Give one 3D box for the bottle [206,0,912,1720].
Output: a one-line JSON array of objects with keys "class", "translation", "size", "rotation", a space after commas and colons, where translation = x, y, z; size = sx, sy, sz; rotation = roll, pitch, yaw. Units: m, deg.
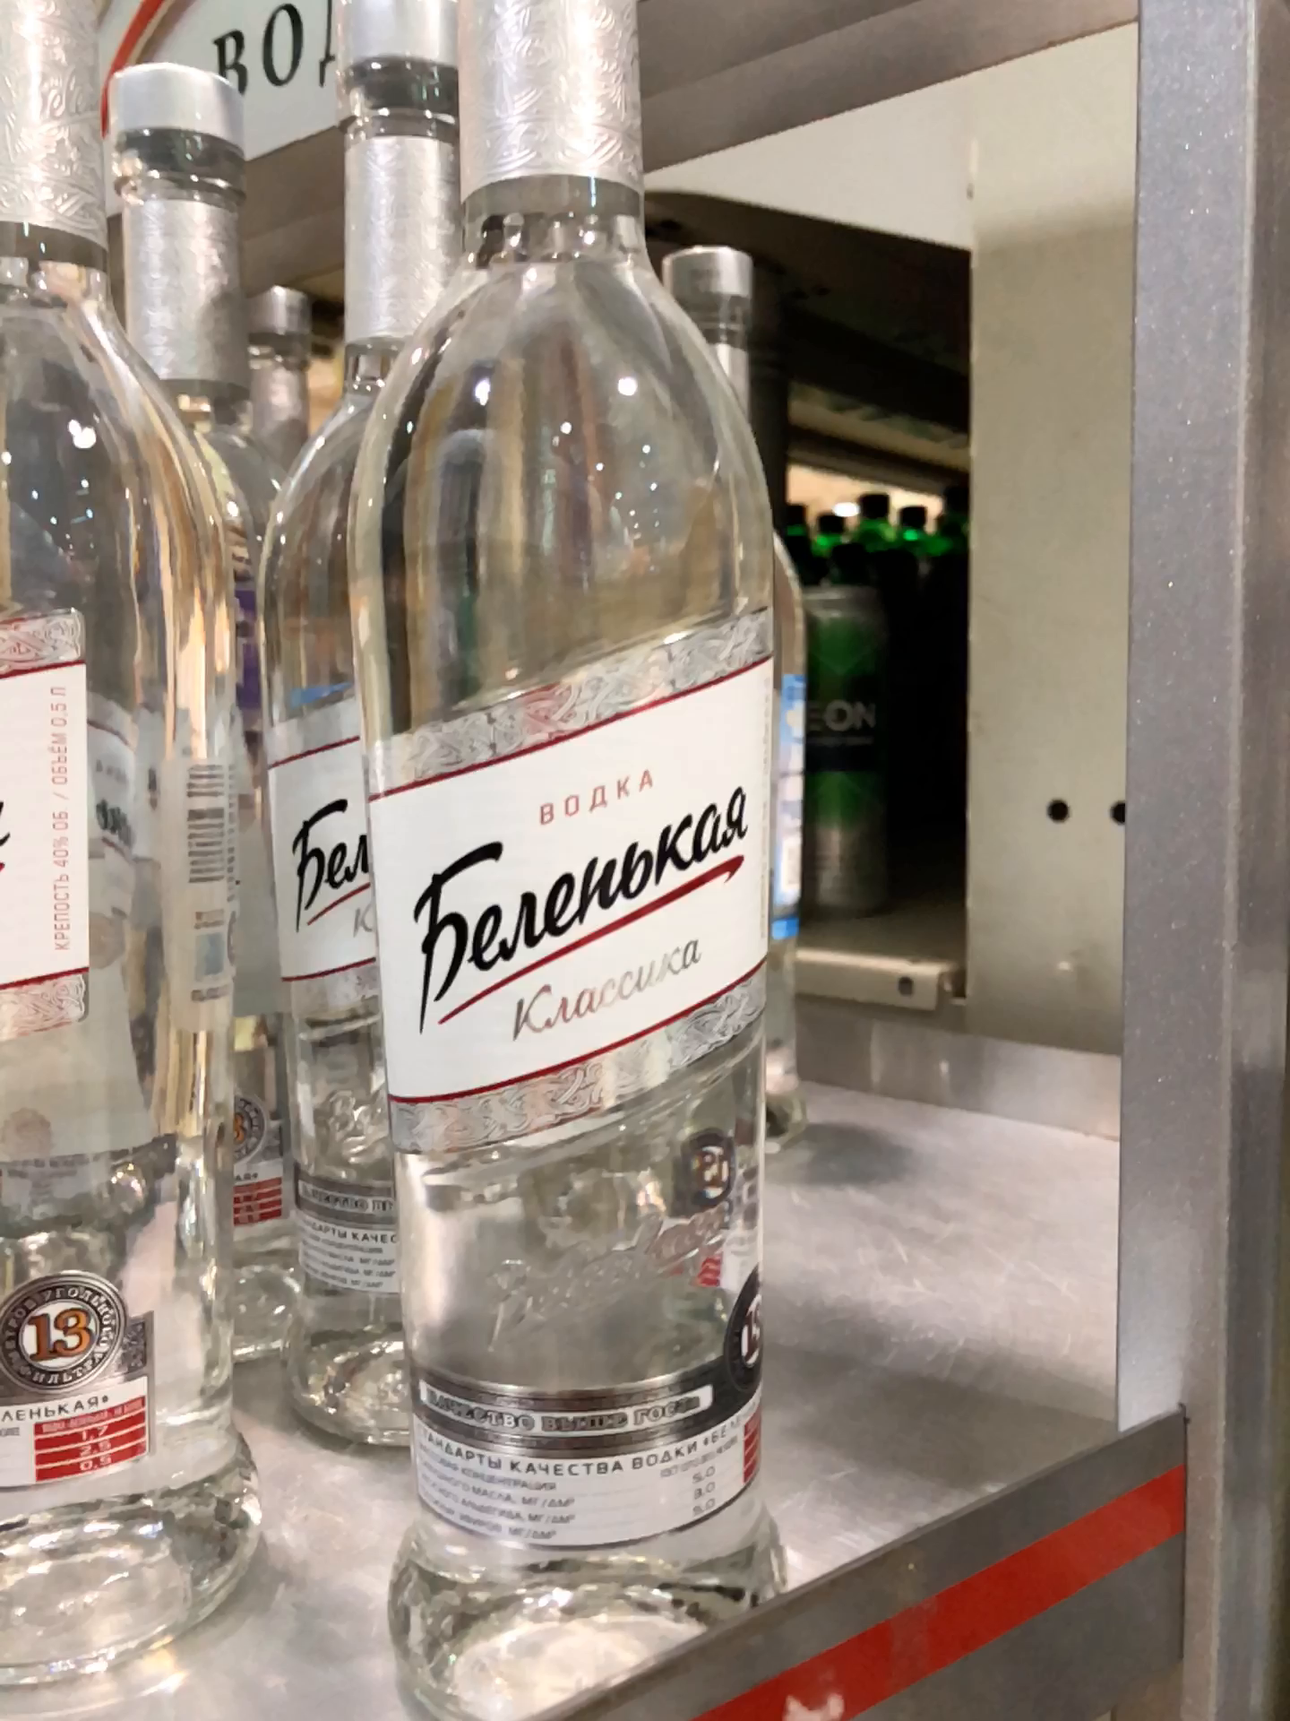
[{"class": "bottle", "translation": [-0.010, -0.030, 0.219], "size": [0.080, 0.309, 0.080], "rotation": [-1, 5, 0]}]
